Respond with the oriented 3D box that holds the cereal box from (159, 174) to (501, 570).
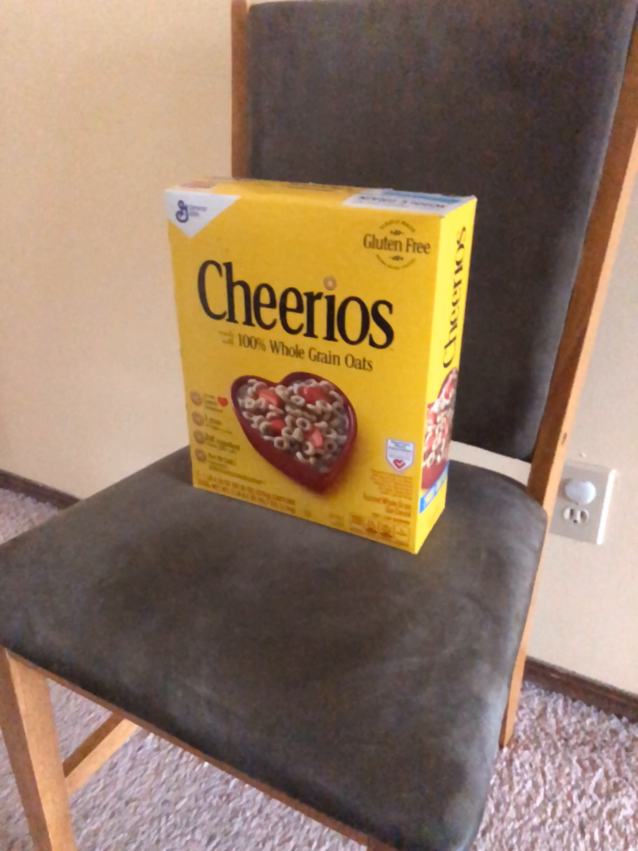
[{"bbox_3d":[0.006,-0.054,0.633,0.260,0.299,0.090,14,31,26],"label":"cereal box"}]
